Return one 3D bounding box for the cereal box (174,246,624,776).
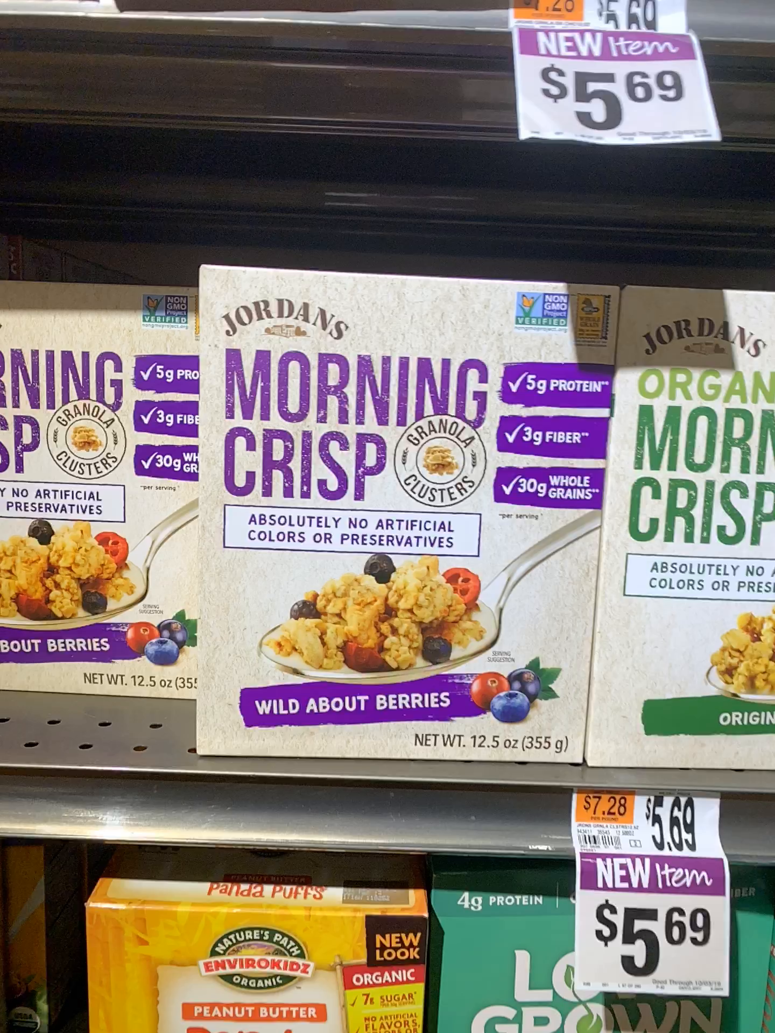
[{"bbox_3d":[0.001,-0.001,0.364,0.180,0.220,0.060,2,8,-2],"label":"cereal box"}]
